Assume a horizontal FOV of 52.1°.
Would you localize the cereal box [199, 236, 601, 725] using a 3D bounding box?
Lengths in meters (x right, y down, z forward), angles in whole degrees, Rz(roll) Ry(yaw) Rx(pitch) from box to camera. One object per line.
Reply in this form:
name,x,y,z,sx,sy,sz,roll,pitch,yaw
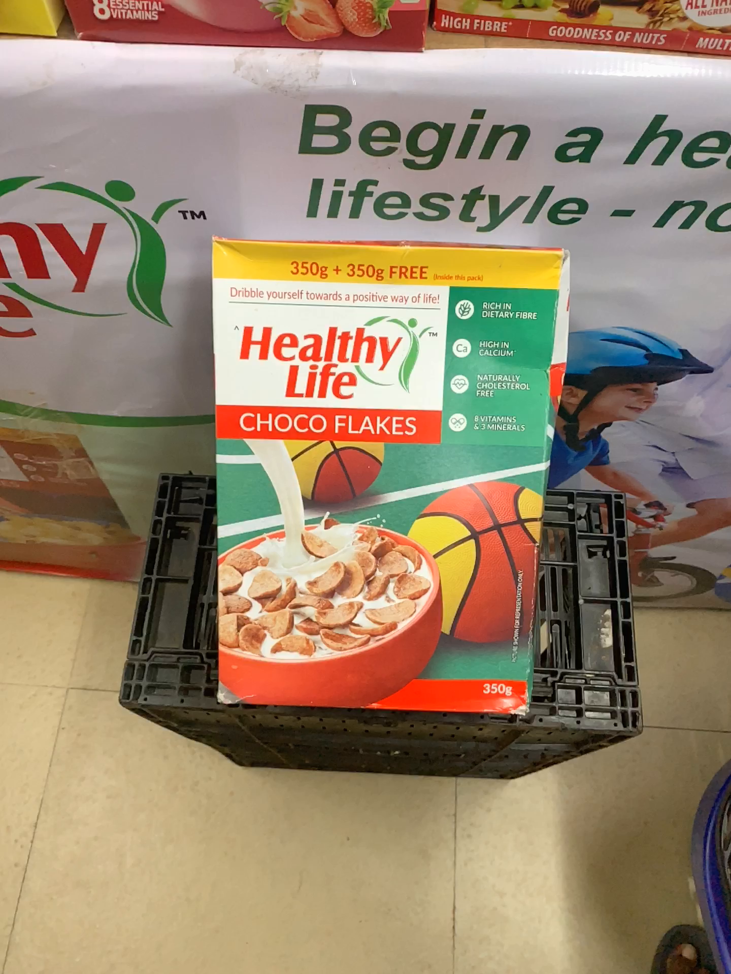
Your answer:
cereal box,0.016,-0.004,0.469,0.210,0.090,0.280,2,104,2
